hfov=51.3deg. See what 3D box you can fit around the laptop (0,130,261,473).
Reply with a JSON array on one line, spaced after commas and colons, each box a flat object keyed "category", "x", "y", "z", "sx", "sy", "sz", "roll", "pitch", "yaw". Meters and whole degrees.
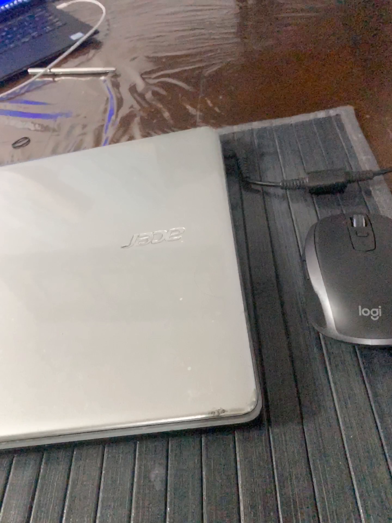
[{"category": "laptop", "x": -0.141, "y": 0.005, "z": 0.277, "sx": 0.335, "sy": 0.002, "sz": 0.224, "roll": -8, "pitch": 51, "yaw": 5}]
